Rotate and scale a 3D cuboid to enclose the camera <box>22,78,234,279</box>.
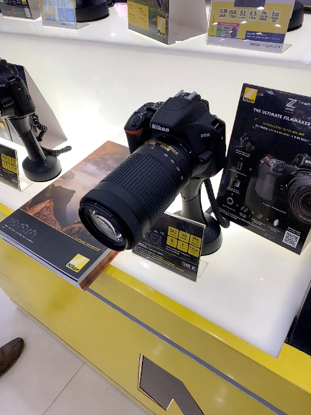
[{"bbox_3d":[-0.011,-0.045,0.333,0.120,0.100,0.180,19,50,28],"label":"camera"}]
